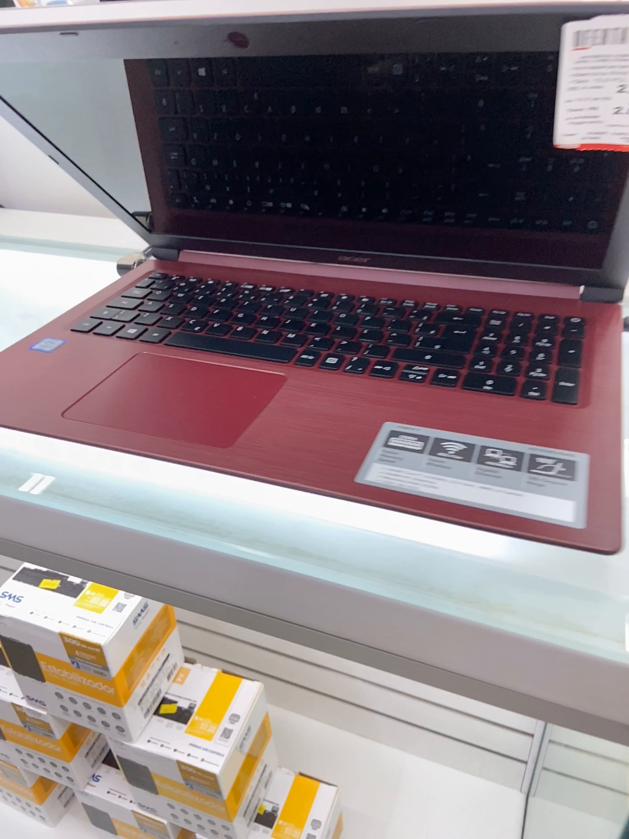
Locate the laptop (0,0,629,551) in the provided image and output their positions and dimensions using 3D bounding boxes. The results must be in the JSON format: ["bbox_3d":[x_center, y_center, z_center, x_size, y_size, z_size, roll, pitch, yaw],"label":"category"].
[{"bbox_3d":[-0.013,-0.117,0.357,0.367,0.179,0.239,10,36,19],"label":"laptop"}]
